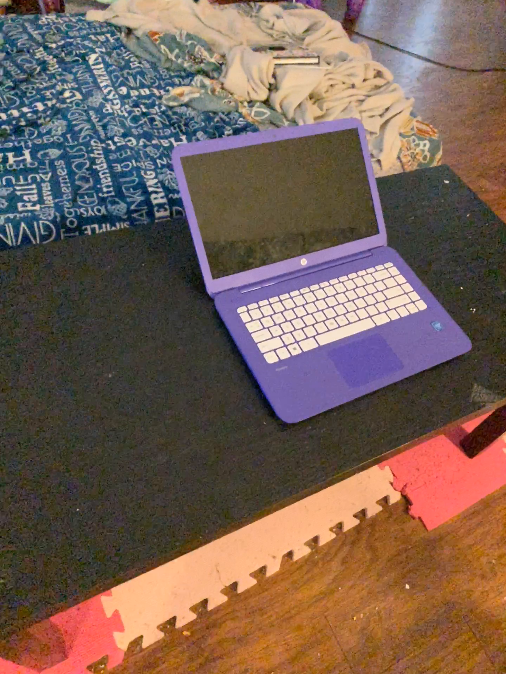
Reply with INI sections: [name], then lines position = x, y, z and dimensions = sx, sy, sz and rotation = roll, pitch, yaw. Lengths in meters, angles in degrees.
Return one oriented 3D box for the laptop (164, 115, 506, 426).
[laptop]
position = 0.106, -0.128, 0.755
dimensions = 0.340, 0.132, 0.398
rotation = -18, 60, -23
